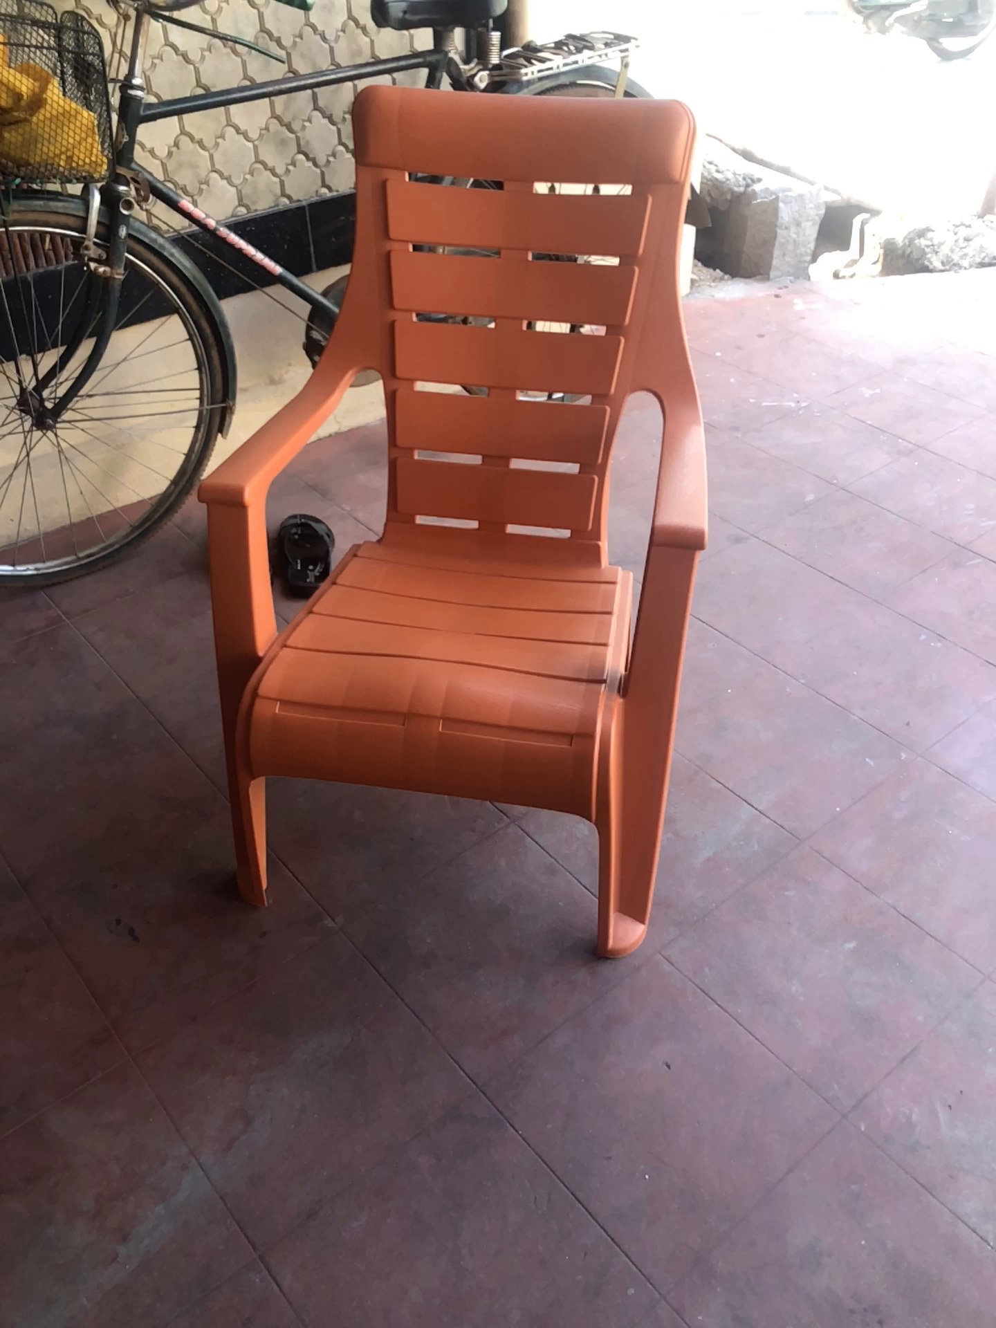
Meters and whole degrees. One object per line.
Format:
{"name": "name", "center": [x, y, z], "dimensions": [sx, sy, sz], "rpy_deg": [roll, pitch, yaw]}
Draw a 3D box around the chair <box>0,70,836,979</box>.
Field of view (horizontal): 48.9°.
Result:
{"name": "chair", "center": [-0.033, -0.211, 1.364], "dimensions": [0.690, 0.786, 0.764], "rpy_deg": [6, 40, 8]}
